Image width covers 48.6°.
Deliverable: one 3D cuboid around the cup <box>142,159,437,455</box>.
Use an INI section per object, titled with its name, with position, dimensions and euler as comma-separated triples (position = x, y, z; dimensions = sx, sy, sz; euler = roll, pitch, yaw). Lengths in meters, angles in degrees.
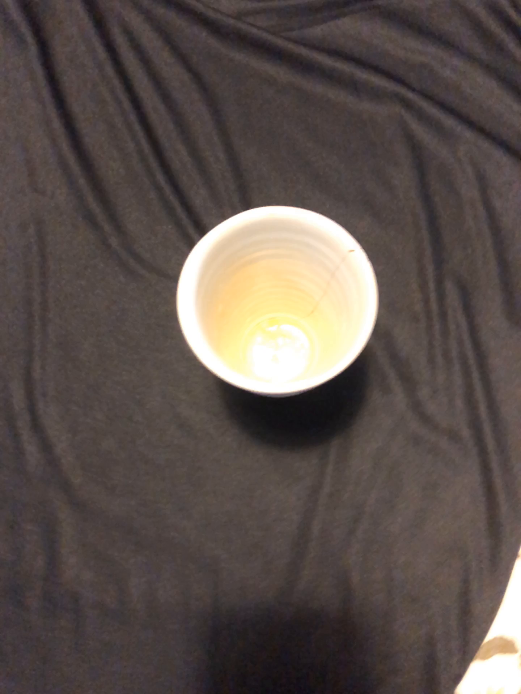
[cup]
position = 0.013, -0.011, 0.283
dimensions = 0.080, 0.100, 0.090
euler = -40, 78, -7
